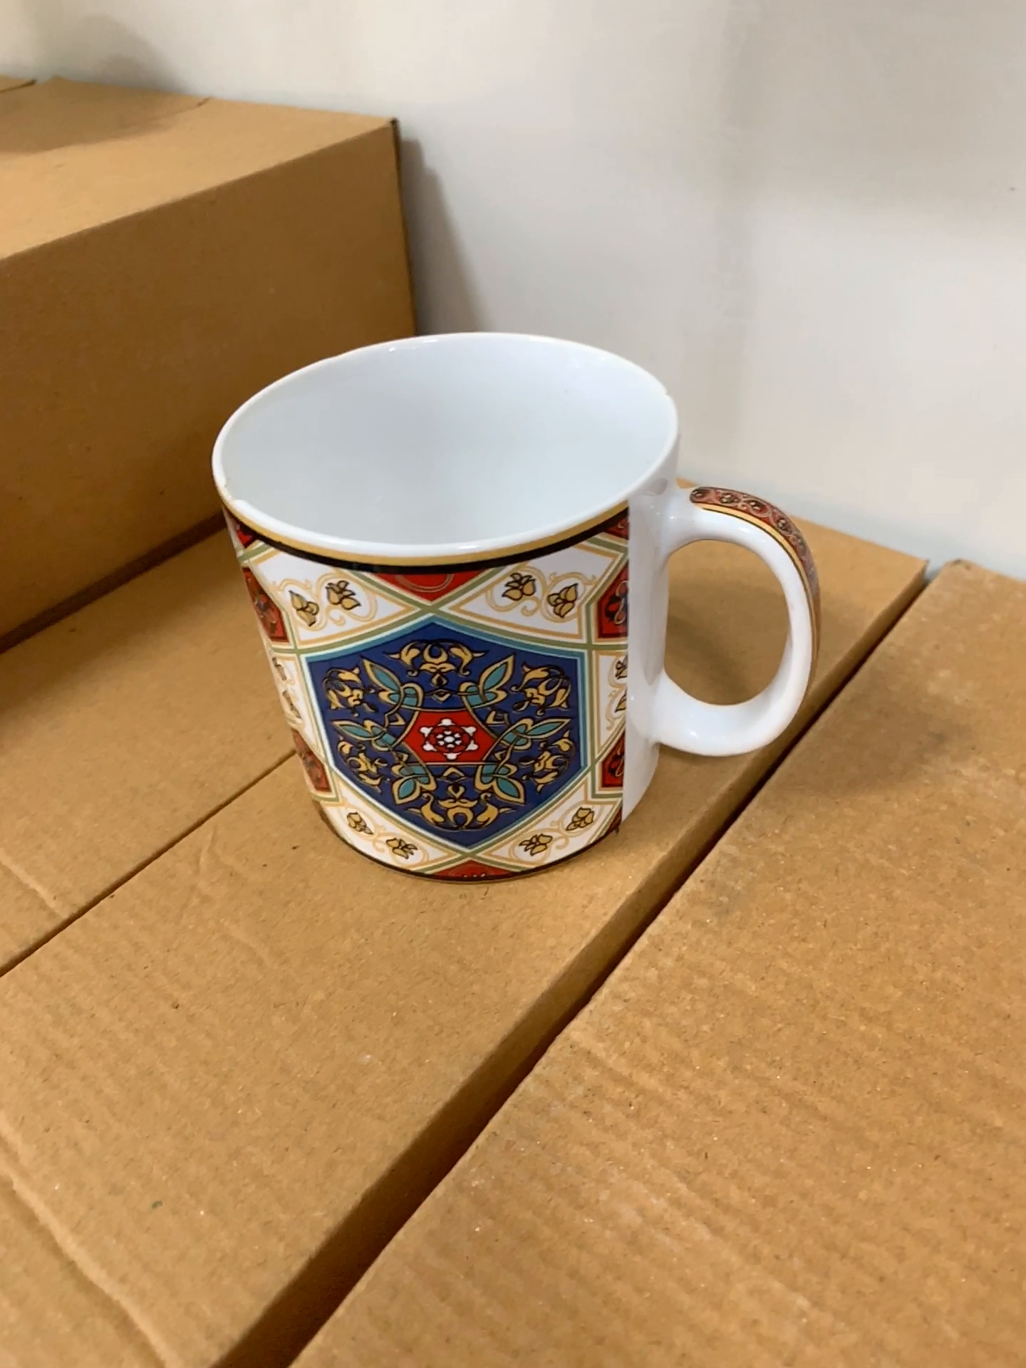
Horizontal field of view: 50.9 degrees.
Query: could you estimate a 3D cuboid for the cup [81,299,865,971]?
[{"bbox_3d":[0.002,-0.014,0.184,0.100,0.069,0.081,7,41,12],"label":"cup"}]
